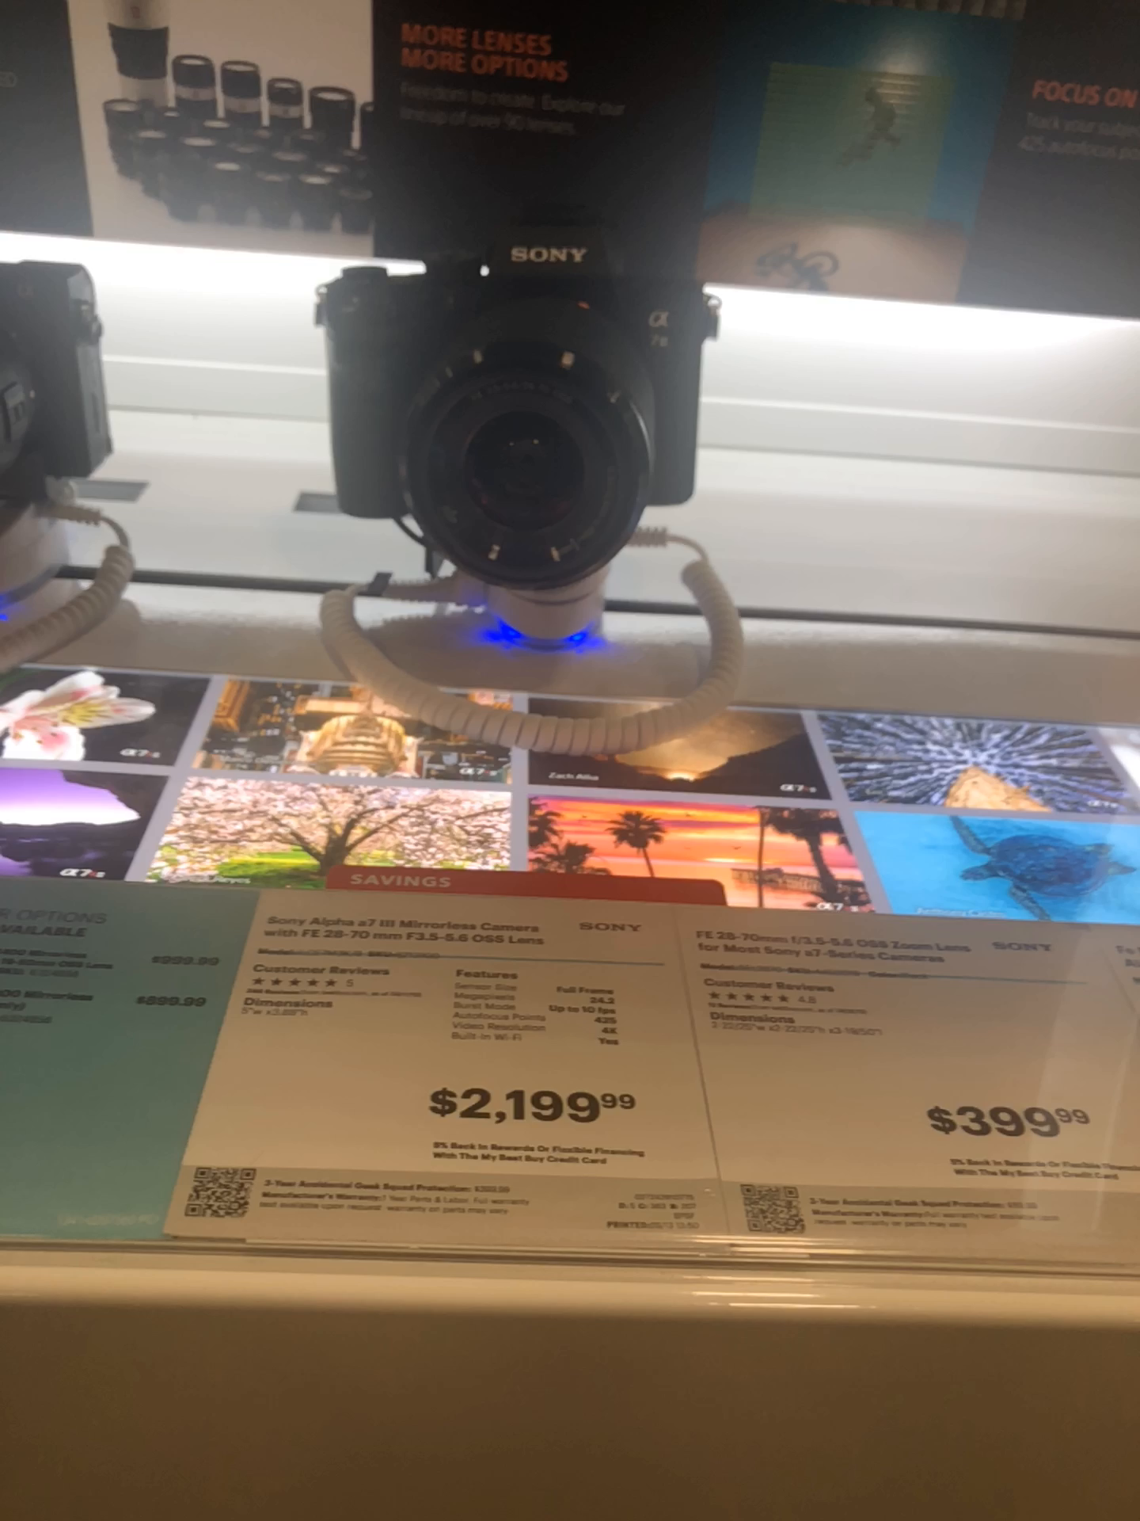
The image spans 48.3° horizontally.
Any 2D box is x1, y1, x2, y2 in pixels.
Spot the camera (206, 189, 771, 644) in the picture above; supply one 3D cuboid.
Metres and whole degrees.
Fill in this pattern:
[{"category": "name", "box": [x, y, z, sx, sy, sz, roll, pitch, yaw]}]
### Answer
[{"category": "camera", "box": [-0.024, -0.113, 0.399, 0.140, 0.090, 0.141, 3, 32, -3]}]
